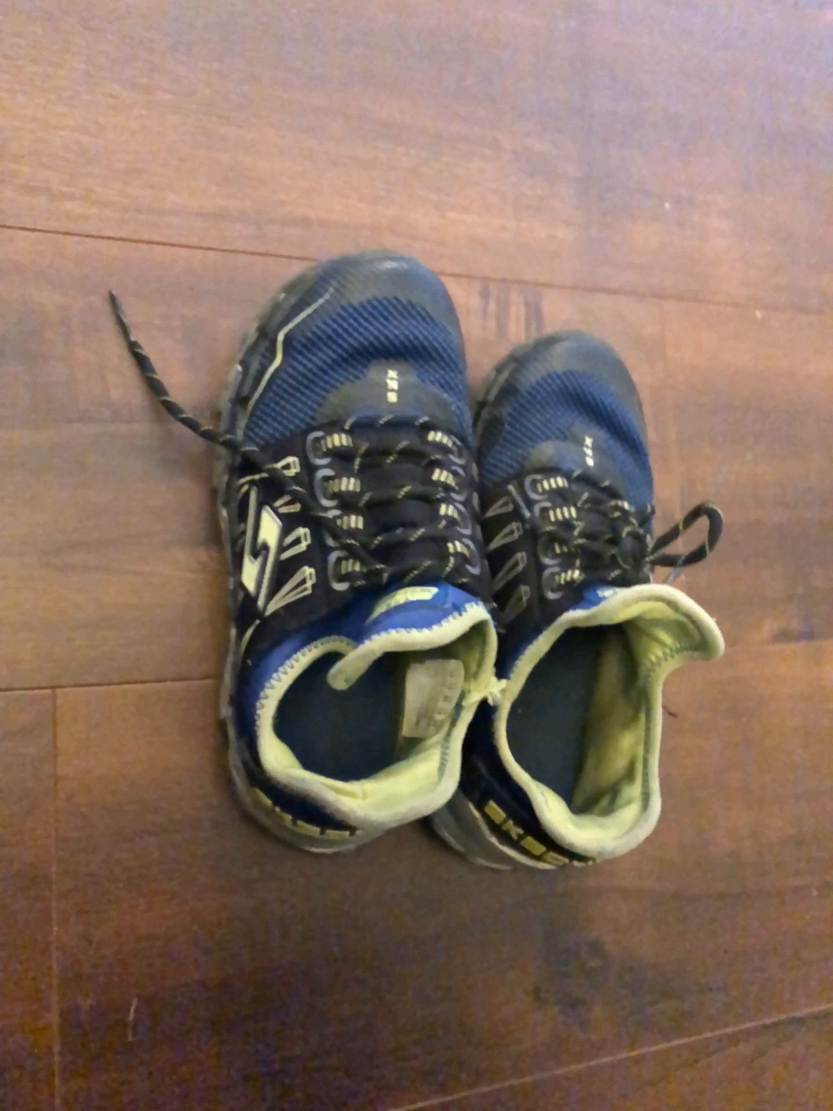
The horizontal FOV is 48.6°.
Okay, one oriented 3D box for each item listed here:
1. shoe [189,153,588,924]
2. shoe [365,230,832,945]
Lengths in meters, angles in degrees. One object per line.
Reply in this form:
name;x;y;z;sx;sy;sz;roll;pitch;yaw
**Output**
shoe;-0.016;-0.001;0.322;0.100;0.120;0.210;4;82;-21
shoe;0.066;0.015;0.348;0.100;0.120;0.210;15;79;-19
